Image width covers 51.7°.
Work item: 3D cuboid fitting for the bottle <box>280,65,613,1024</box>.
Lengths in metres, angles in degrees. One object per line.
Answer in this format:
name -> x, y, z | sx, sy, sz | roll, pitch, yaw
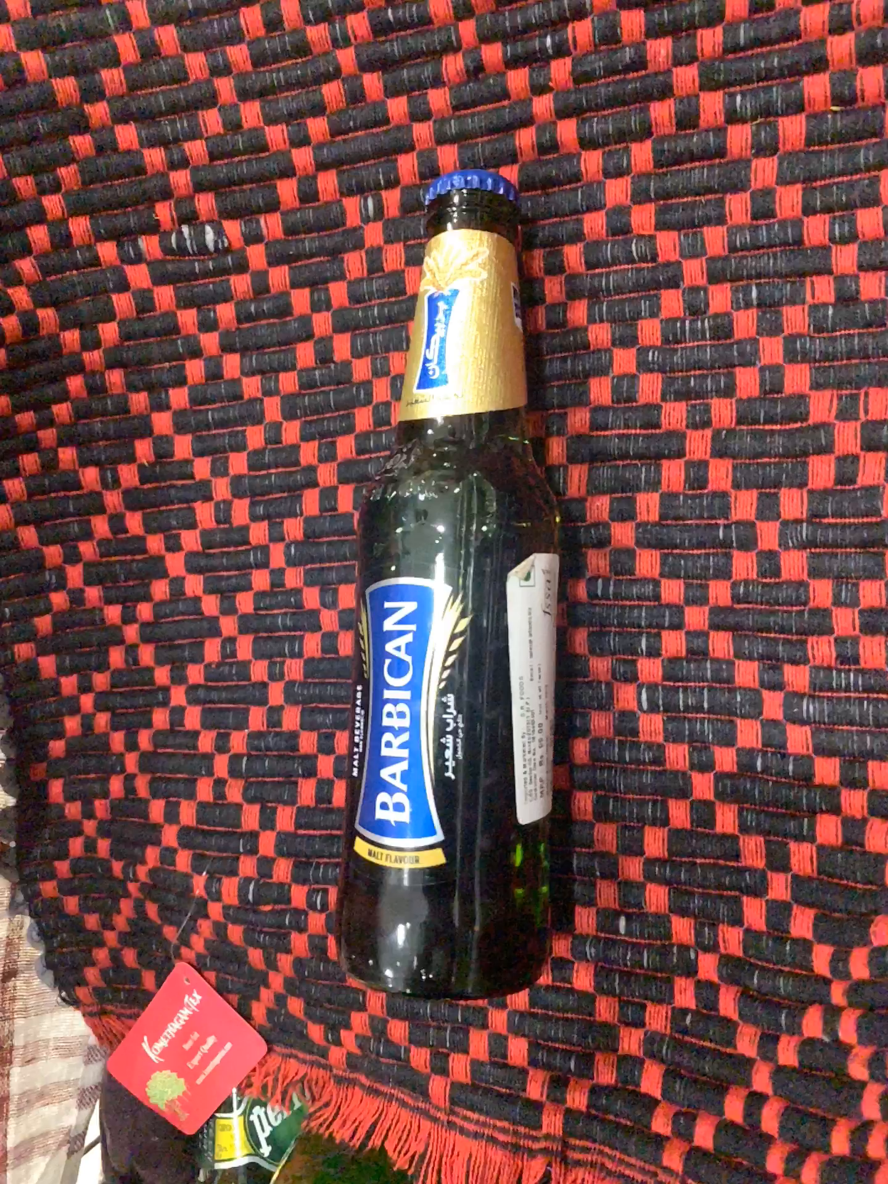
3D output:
bottle -> 0.006, -0.013, 0.237 | 0.060, 0.060, 0.210 | 0, 84, 21
